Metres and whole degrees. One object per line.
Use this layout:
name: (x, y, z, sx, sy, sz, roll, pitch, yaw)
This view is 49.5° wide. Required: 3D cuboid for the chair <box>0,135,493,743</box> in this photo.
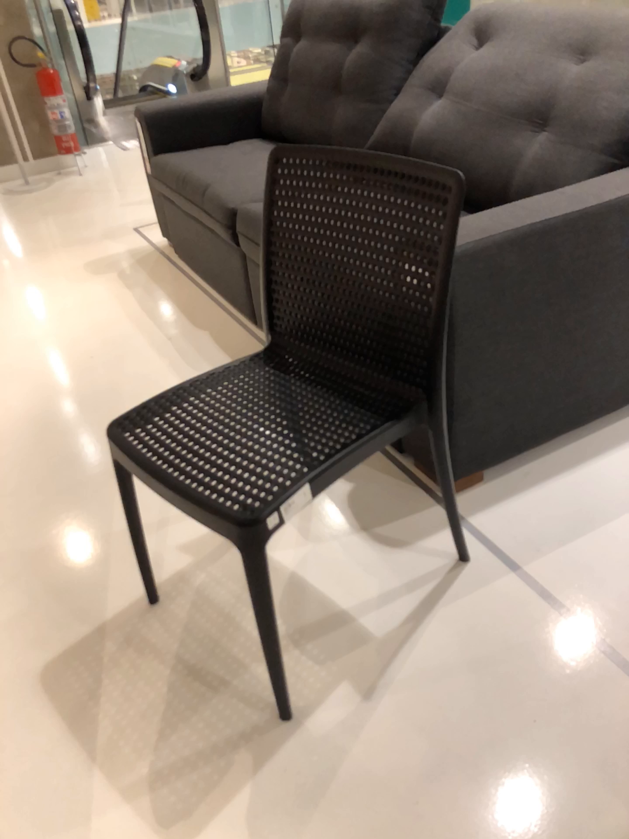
chair: (-0.080, -0.010, 1.224, 0.532, 0.784, 0.563, 25, 45, 38)
